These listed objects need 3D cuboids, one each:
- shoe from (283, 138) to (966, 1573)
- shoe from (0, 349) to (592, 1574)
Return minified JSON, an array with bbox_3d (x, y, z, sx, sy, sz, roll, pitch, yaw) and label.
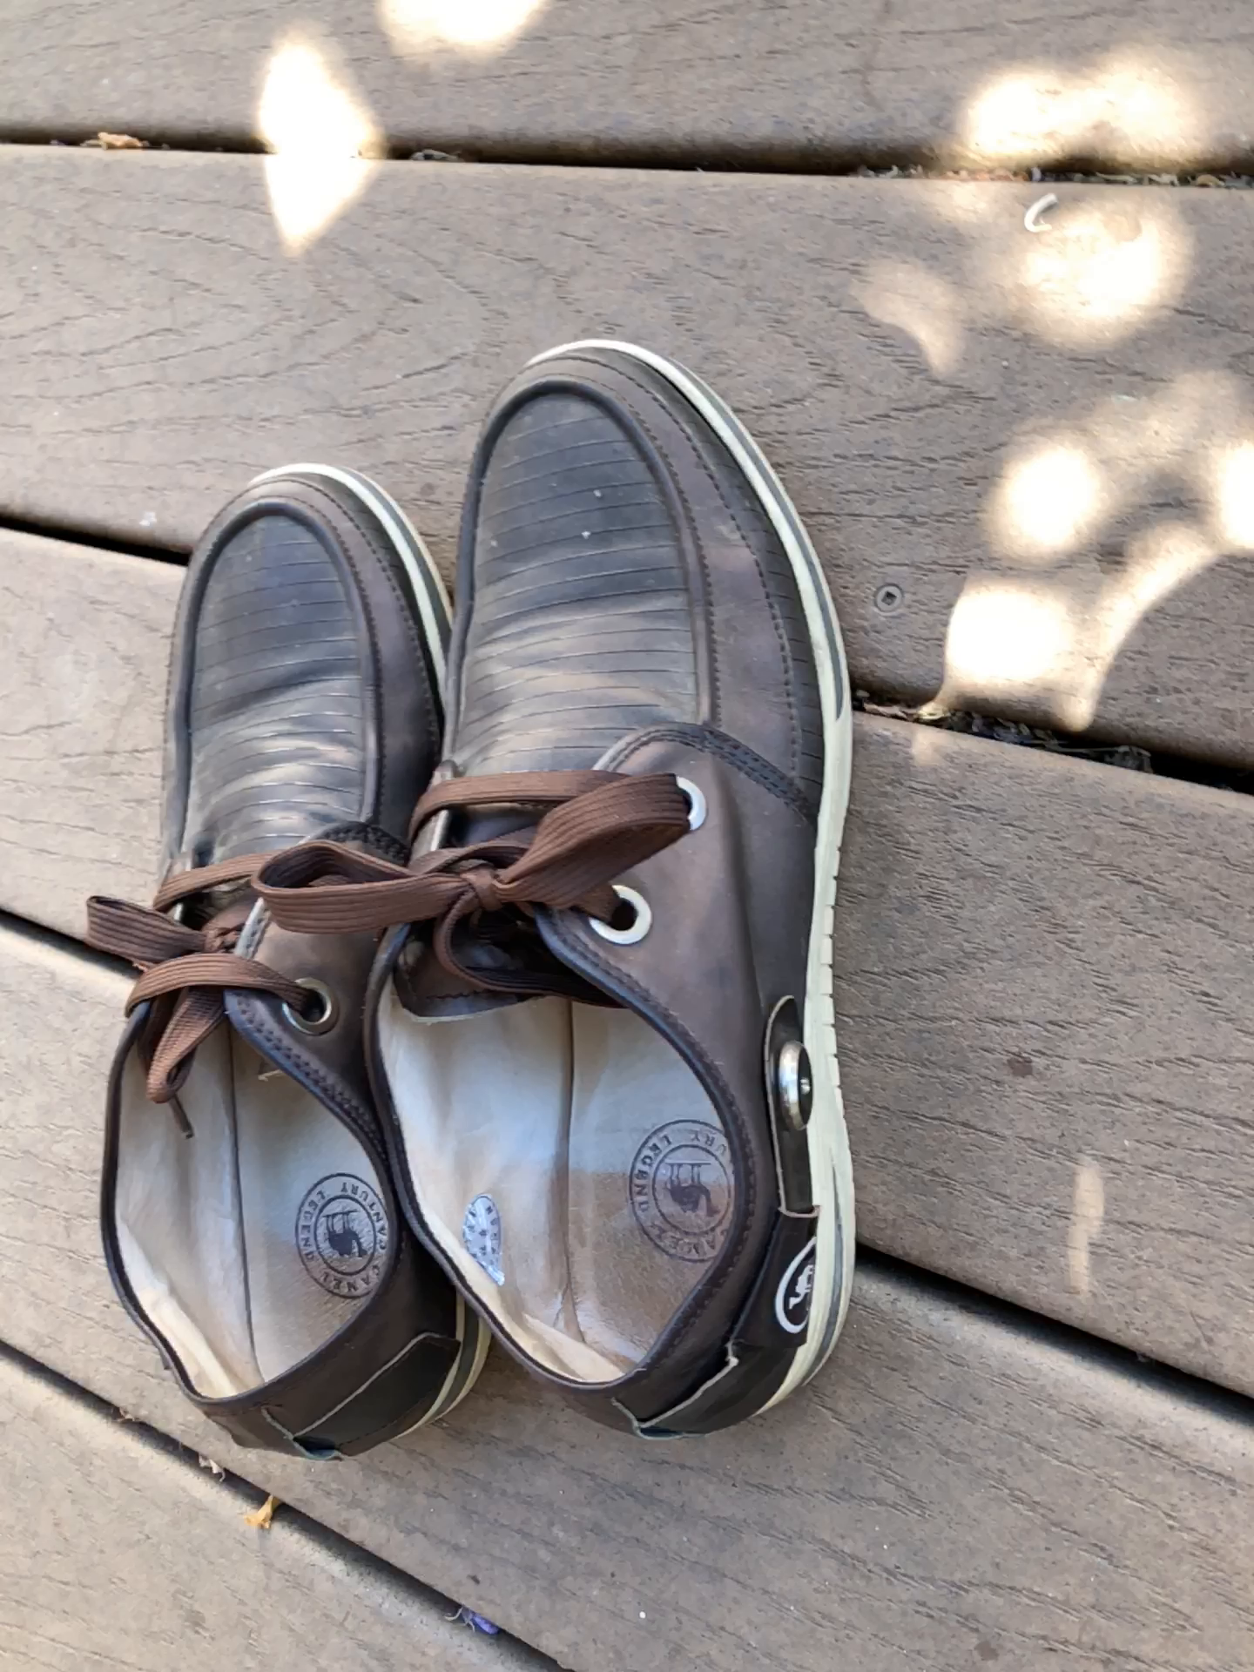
[{"bbox_3d":[0.001,0.006,0.345,0.107,0.105,0.289,-9,82,24],"label":"shoe"},{"bbox_3d":[-0.096,0.033,0.399,0.107,0.115,0.287,-8,83,24],"label":"shoe"}]
